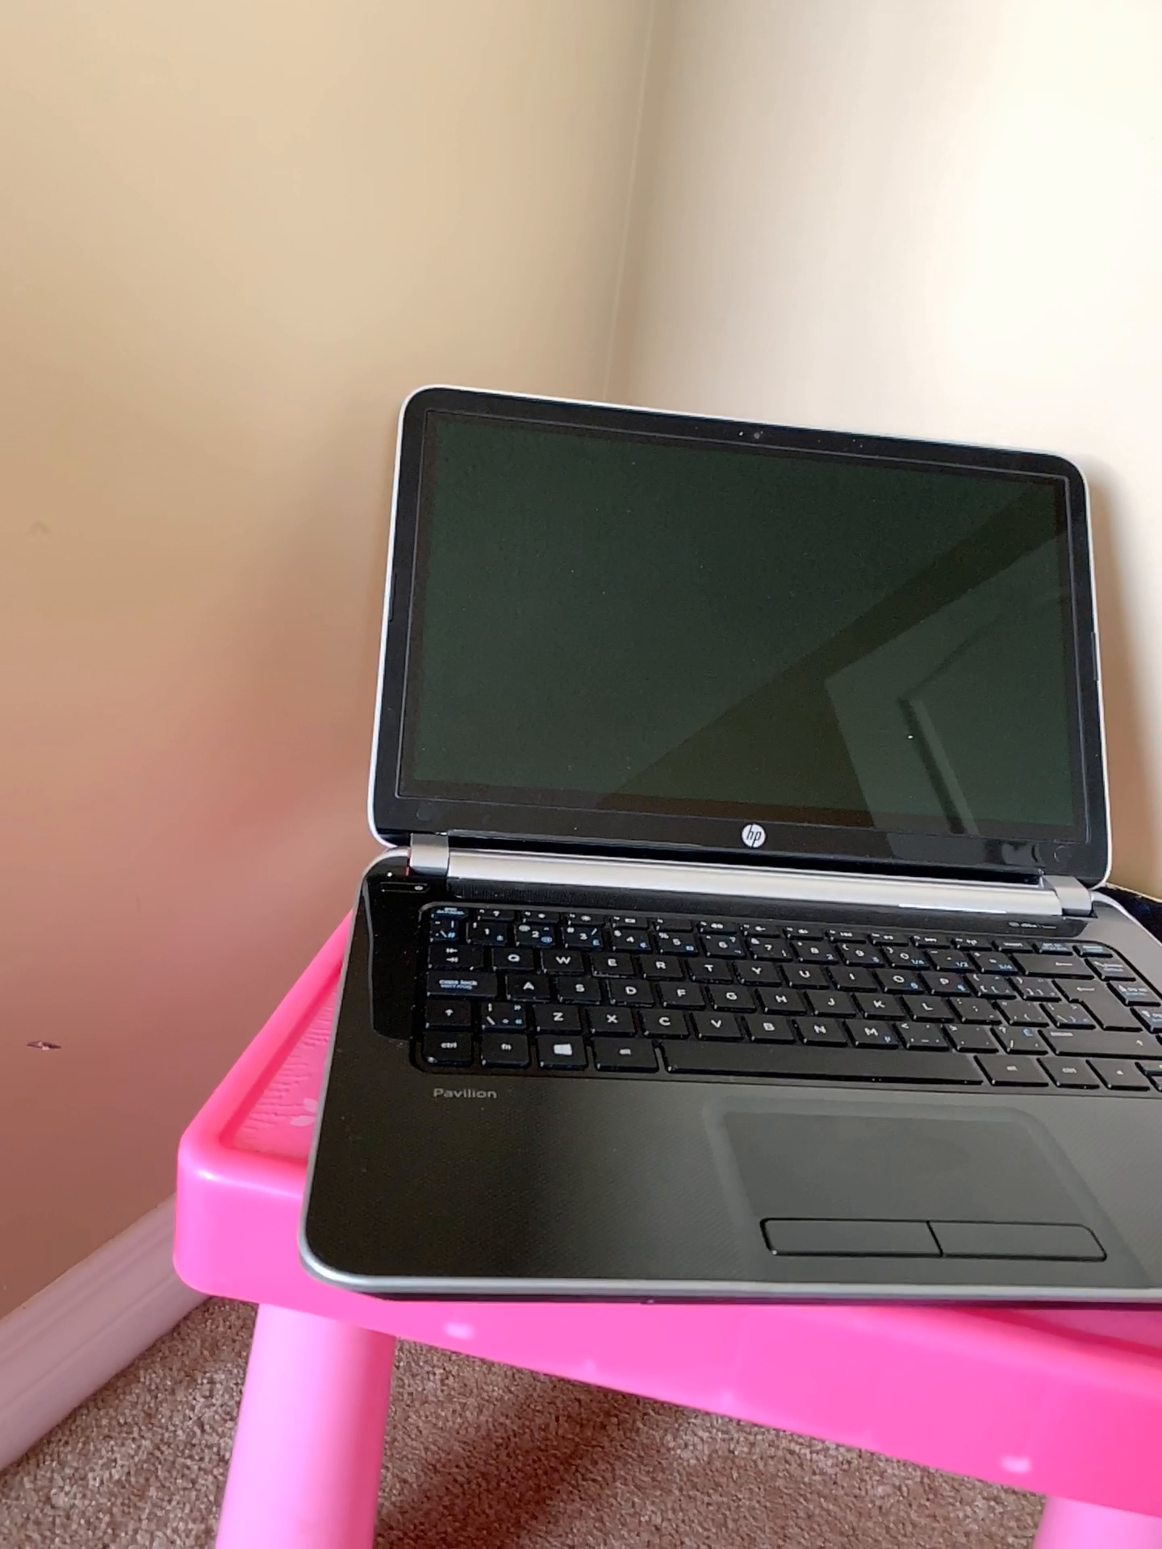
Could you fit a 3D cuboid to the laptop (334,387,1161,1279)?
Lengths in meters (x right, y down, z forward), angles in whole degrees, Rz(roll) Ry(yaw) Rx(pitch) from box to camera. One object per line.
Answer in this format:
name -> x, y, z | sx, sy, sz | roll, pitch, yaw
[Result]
laptop -> 0.077, -0.010, 0.379 | 0.274, 0.161, 0.272 | 4, 23, -8
